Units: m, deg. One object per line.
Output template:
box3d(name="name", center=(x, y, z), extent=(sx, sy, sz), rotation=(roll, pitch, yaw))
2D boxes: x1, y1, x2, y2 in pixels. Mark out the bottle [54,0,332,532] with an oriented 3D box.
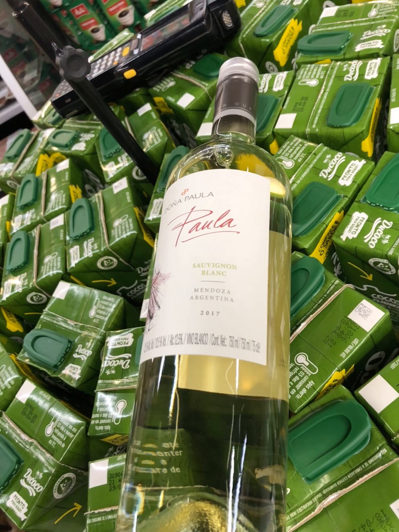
box3d(name="bottle", center=(0.019, -0.032, 0.249), extent=(0.080, 0.070, 0.331), rotation=(-9, 55, 25))
